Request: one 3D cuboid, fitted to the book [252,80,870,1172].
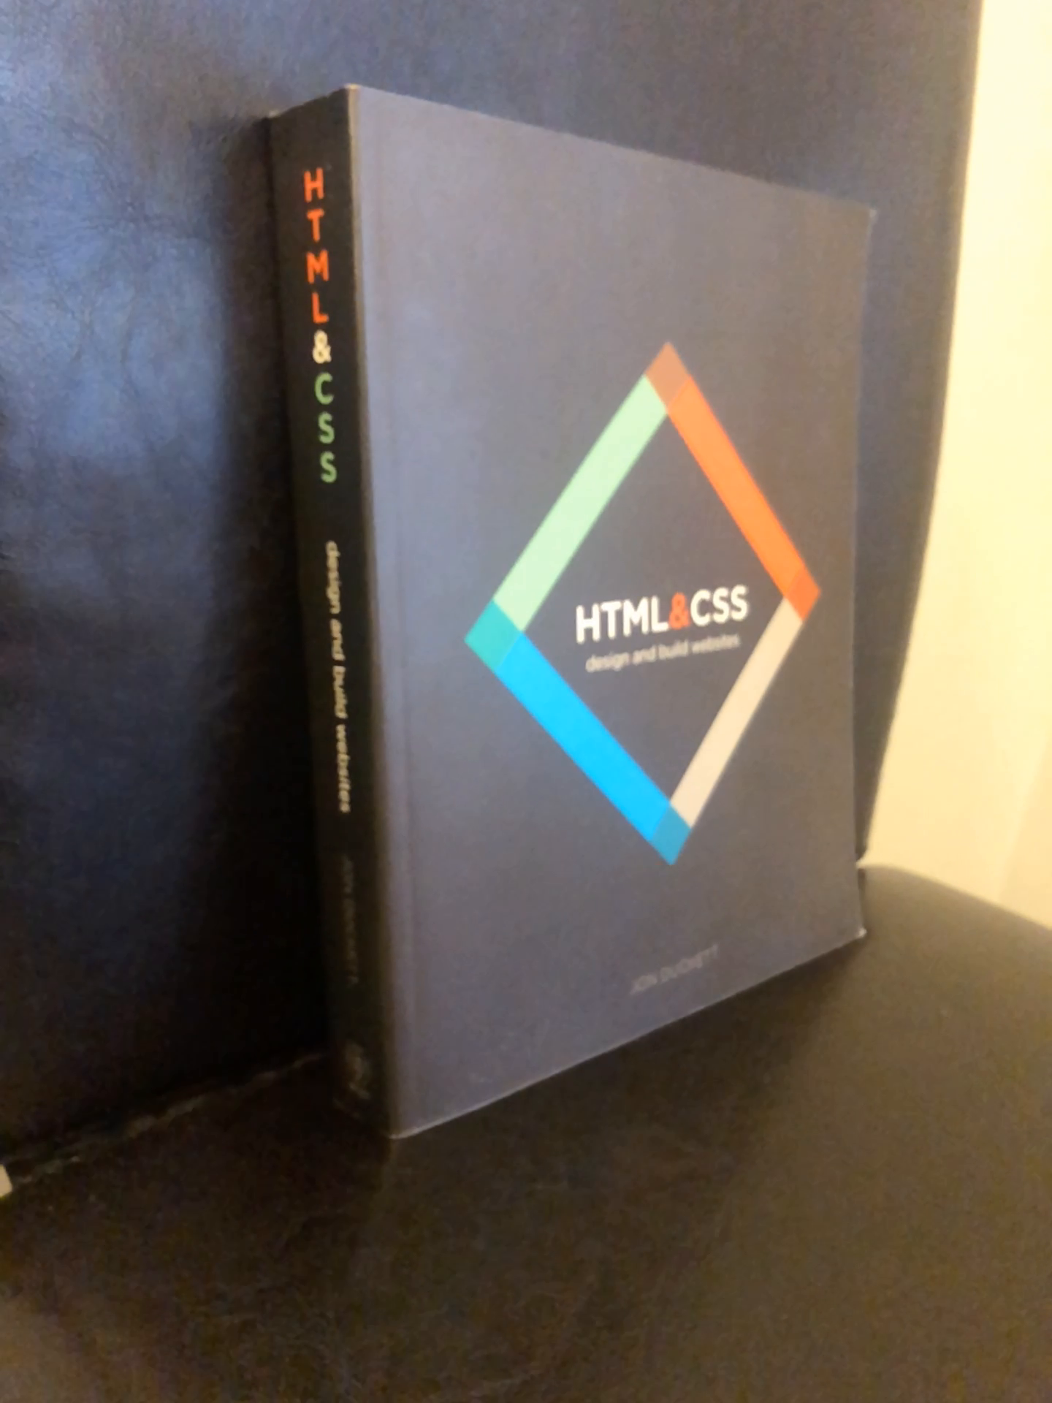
[{"bbox_3d":[0.026,-0.023,0.322,0.189,0.231,0.030,-10,13,-40],"label":"book"}]
